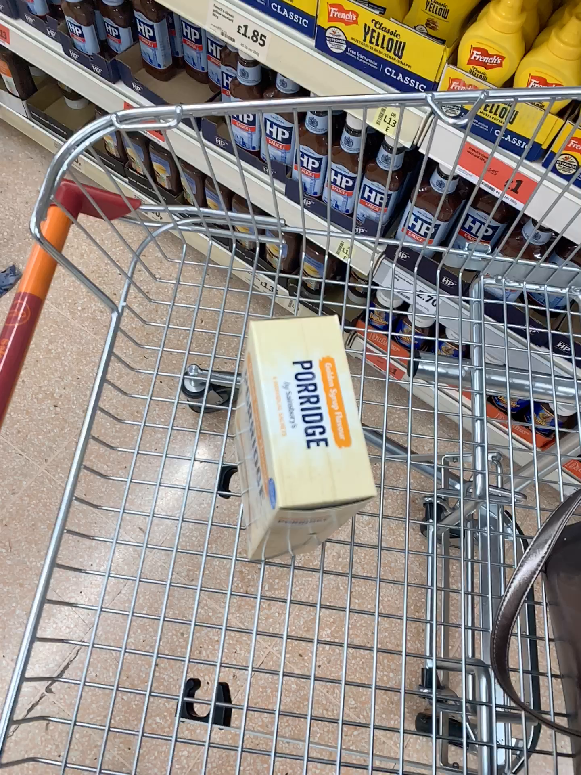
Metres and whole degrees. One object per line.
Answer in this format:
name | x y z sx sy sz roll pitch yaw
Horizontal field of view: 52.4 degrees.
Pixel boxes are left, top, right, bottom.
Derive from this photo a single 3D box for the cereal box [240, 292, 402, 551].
cereal box | 0.008 0.040 0.458 0.070 0.209 0.131 -6 67 -10
